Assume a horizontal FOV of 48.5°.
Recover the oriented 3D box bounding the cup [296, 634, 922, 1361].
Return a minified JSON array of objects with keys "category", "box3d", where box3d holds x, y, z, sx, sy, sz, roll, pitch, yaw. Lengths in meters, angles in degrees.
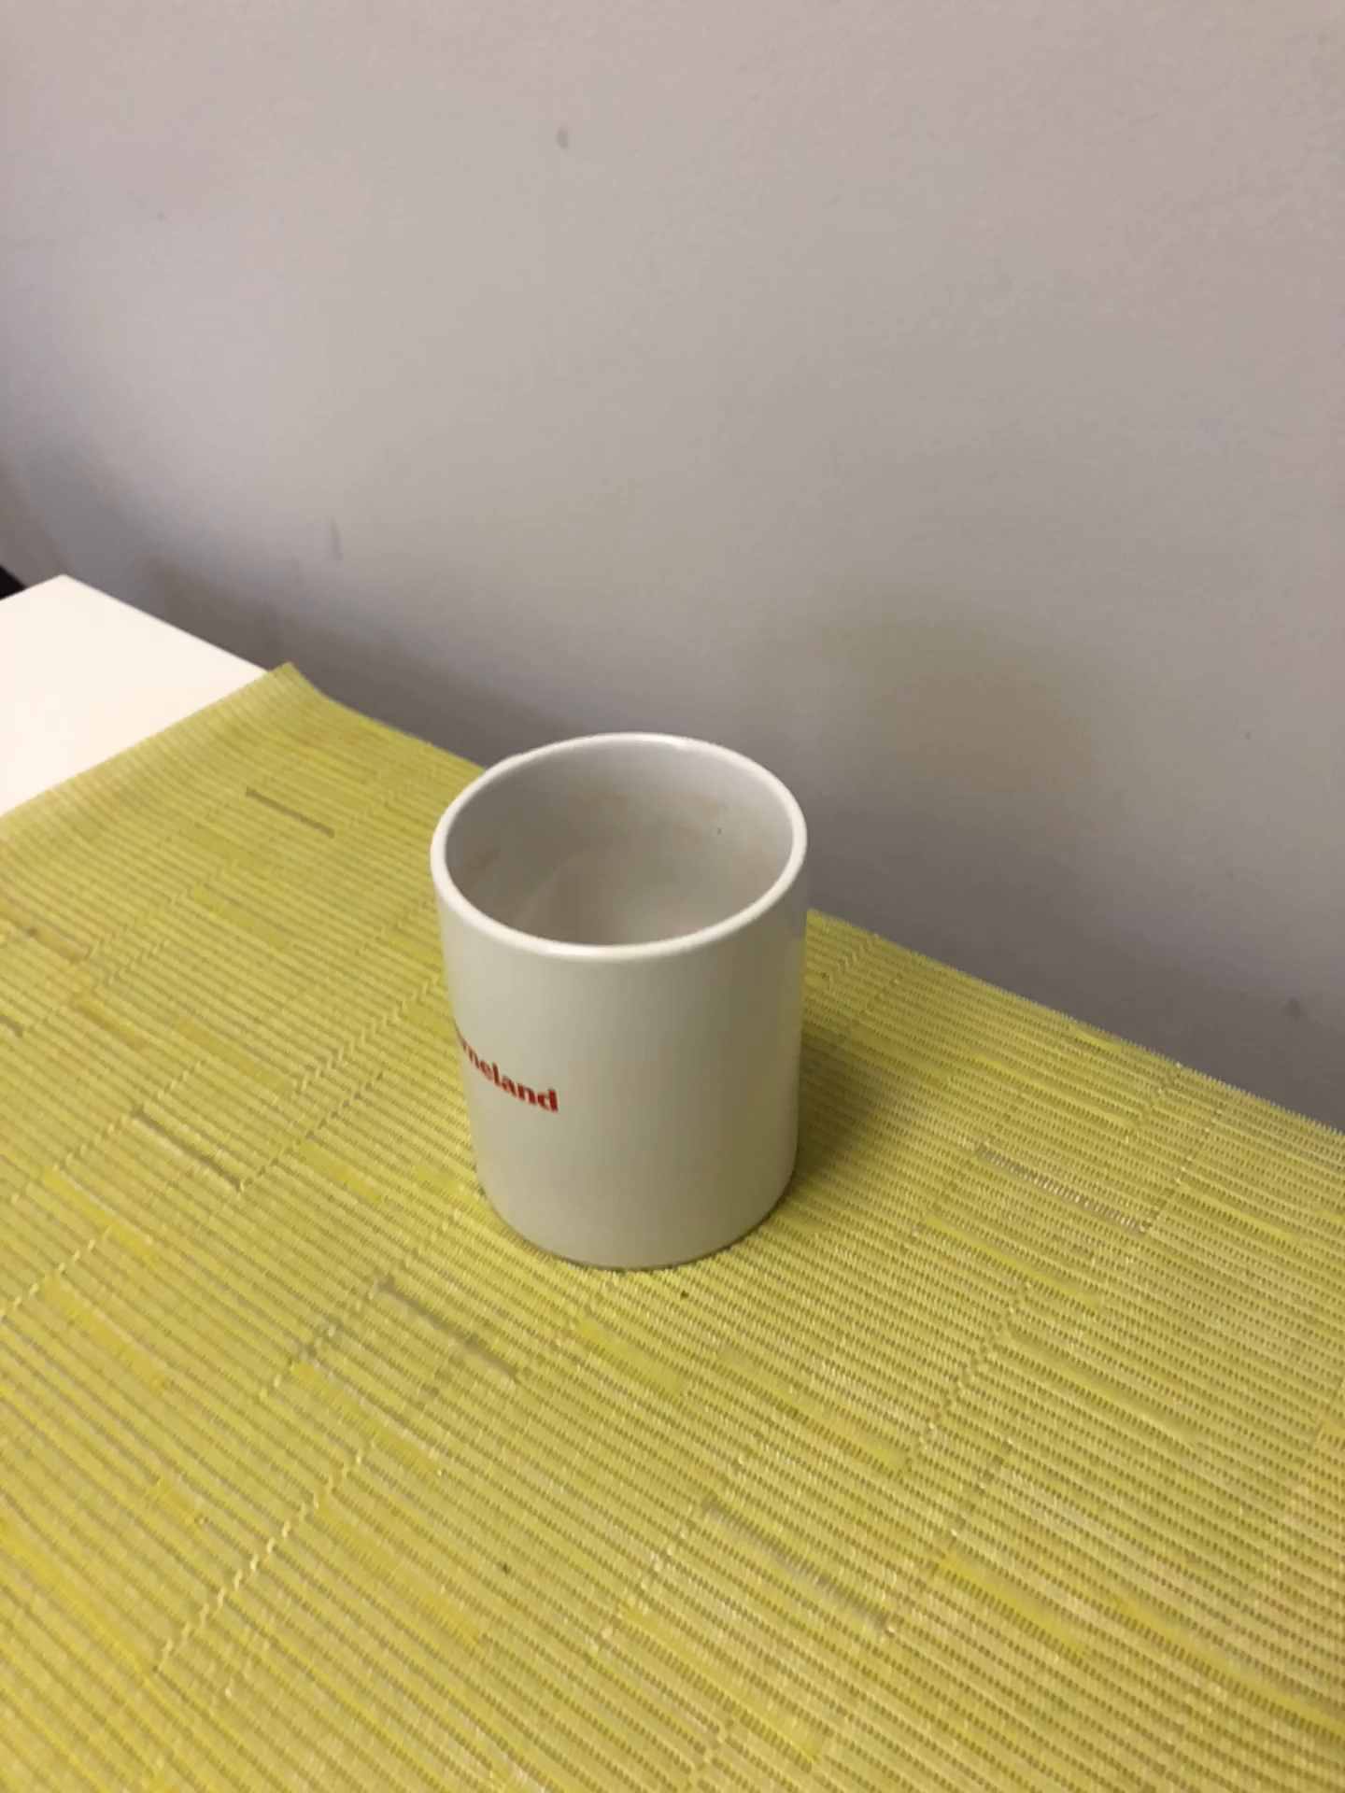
[{"category":"cup","box3d":[-0.018,0.017,0.350,0.089,0.100,0.114,-20,42,-25]}]
